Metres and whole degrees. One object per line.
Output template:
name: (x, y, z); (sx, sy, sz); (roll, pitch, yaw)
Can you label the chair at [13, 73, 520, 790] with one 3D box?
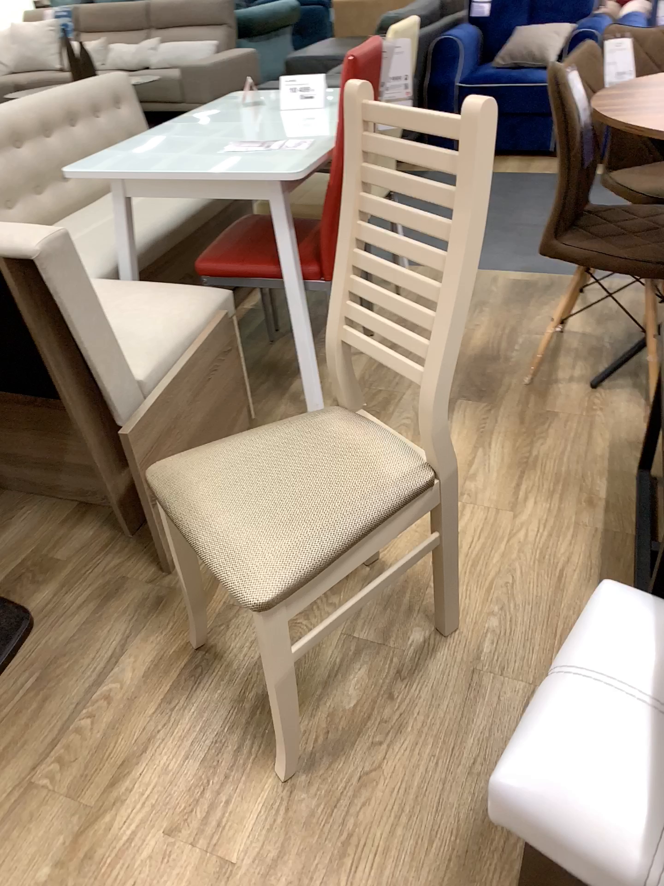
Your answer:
chair: (-0.054, 0.003, 1.085); (0.473, 0.969, 0.392); (-25, 40, -26)
